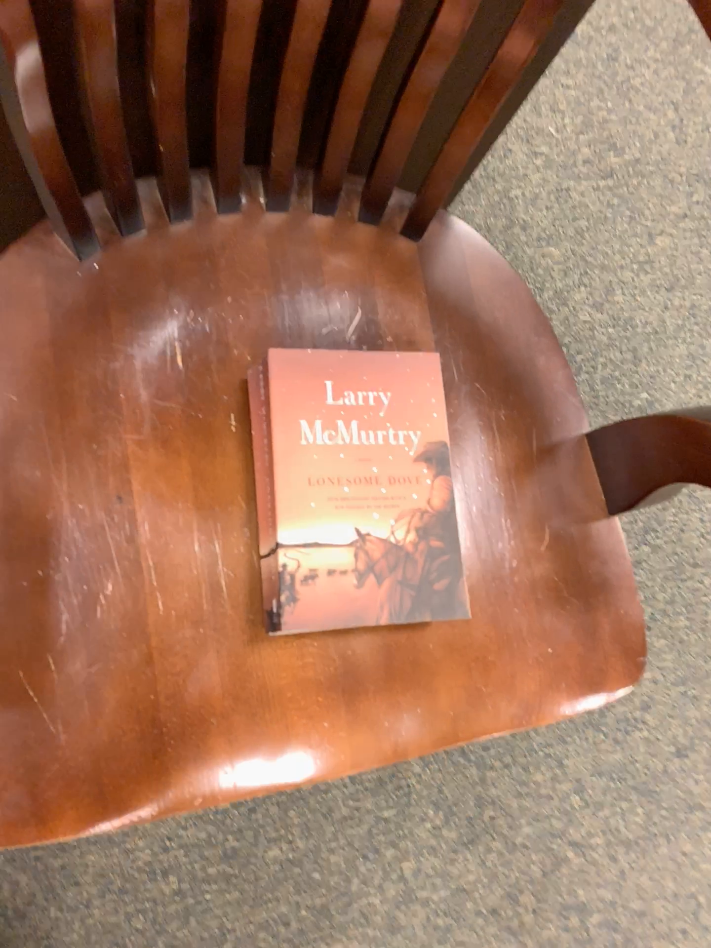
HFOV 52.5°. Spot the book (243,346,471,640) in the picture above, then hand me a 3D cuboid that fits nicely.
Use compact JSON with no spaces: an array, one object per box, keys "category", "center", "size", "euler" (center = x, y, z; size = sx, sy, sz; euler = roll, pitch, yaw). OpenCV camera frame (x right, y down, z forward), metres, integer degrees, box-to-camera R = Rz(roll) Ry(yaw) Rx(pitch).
[{"category":"book","center":[-0.004,0.012,0.526],"size":[0.140,0.060,0.200],"euler":[-2,76,-14]}]
